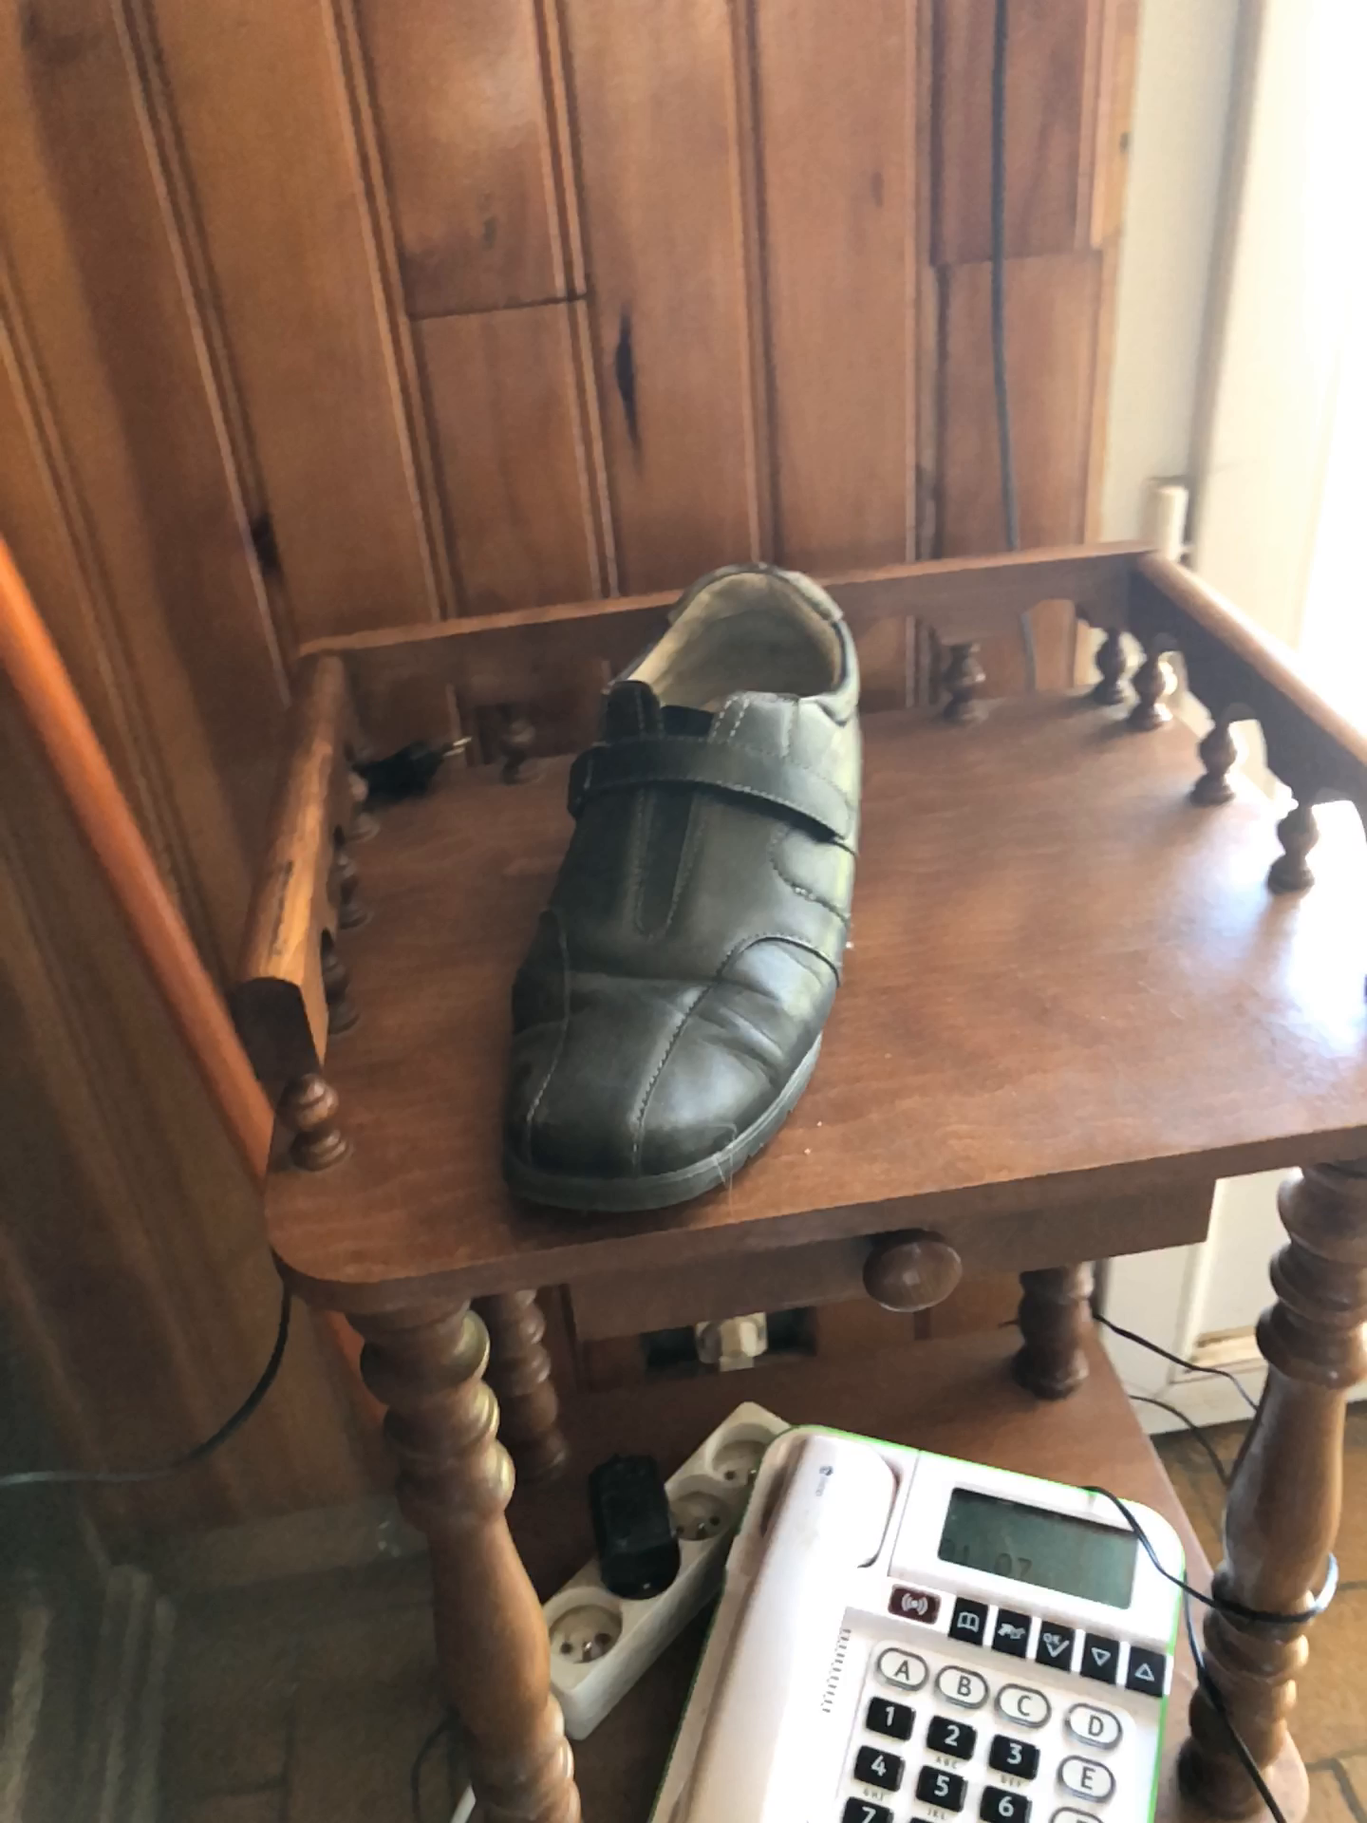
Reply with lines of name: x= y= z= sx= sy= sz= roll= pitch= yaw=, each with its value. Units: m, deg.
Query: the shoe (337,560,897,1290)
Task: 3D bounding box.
shoe: x=0.001 y=-0.017 z=0.473 sx=0.100 sy=0.099 sz=0.252 roll=4 pitch=34 yaw=14
